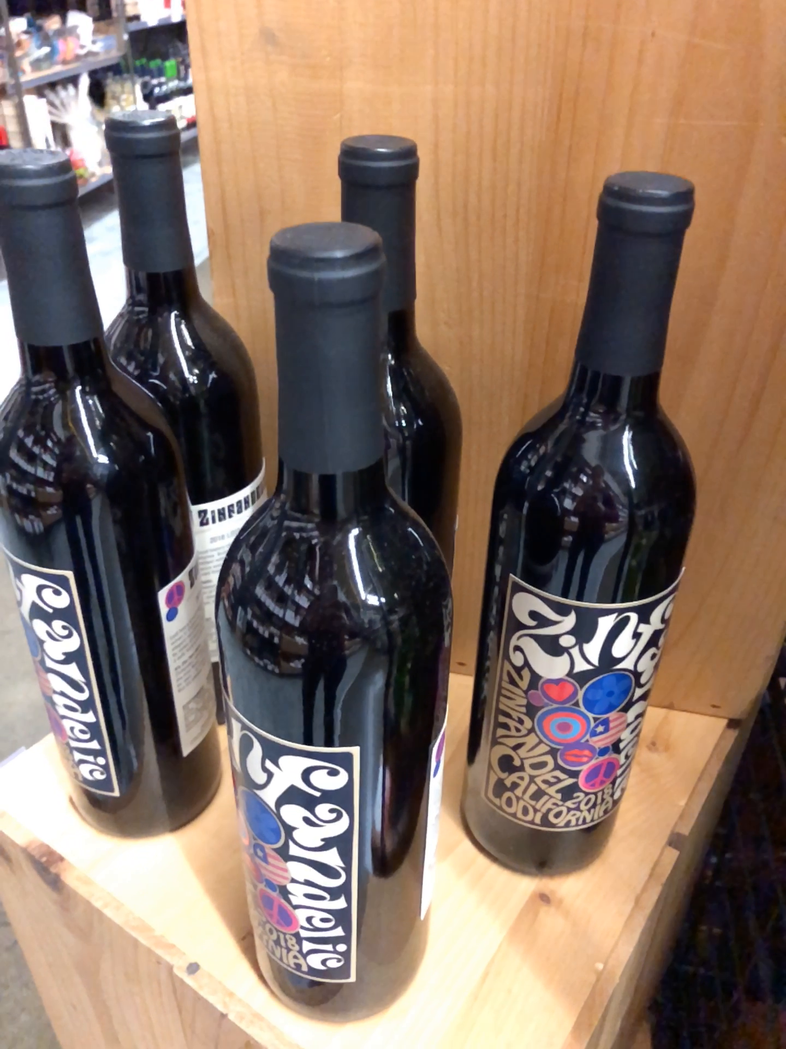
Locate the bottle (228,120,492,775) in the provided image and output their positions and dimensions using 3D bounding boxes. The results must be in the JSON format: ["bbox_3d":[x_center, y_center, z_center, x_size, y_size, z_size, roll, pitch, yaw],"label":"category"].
[{"bbox_3d":[-0.013,-0.016,0.372,0.080,0.274,0.077,1,34,-1],"label":"bottle"}]

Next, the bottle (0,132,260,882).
[{"bbox_3d":[-0.122,0.009,0.367,0.080,0.304,0.077,1,34,-1],"label":"bottle"}]

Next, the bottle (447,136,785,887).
[{"bbox_3d":[0.073,0.018,0.352,0.080,0.310,0.077,1,34,-1],"label":"bottle"}]

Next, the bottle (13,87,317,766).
[{"bbox_3d":[-0.089,-0.030,0.384,0.080,0.280,0.077,1,34,-1],"label":"bottle"}]

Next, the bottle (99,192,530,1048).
[{"bbox_3d":[-0.021,0.053,0.285,0.073,0.286,0.070,1,34,-1],"label":"bottle"}]
